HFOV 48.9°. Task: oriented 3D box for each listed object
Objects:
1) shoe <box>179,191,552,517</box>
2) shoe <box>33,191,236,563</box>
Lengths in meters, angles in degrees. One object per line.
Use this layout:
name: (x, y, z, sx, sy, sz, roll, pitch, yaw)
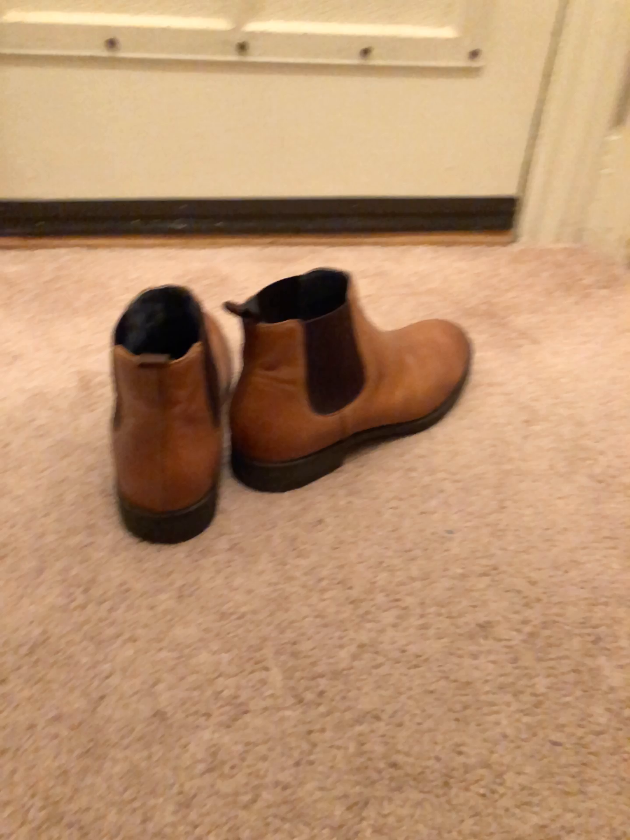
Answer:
shoe: (0.051, -0.074, 0.603, 0.313, 0.165, 0.109, -26, 45, -34)
shoe: (-0.126, -0.057, 0.582, 0.109, 0.165, 0.314, 0, 36, -5)
